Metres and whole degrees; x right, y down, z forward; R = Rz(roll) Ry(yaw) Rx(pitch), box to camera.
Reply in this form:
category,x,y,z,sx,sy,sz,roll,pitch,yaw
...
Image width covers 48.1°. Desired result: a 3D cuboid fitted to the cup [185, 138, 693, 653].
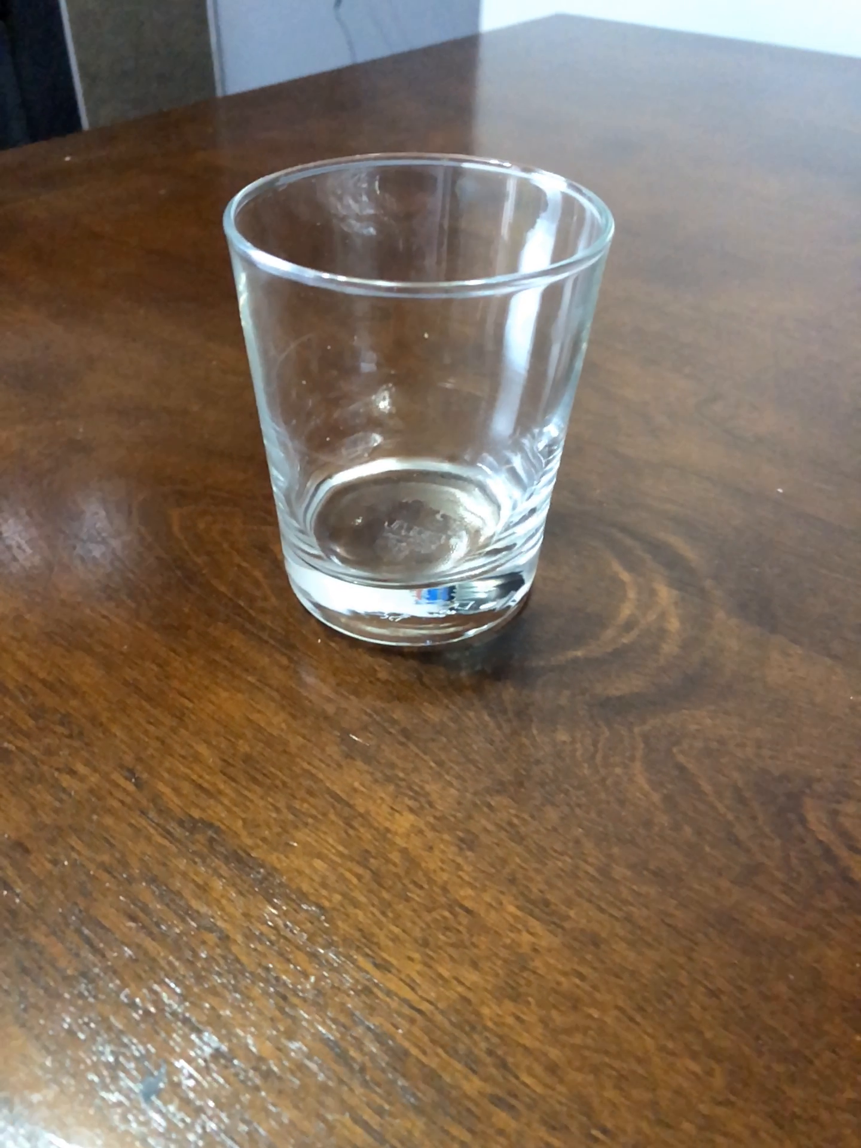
category,x,y,z,sx,sy,sz,roll,pitch,yaw
cup,-0.001,-0.045,0.234,0.090,0.090,0.090,1,38,-1
